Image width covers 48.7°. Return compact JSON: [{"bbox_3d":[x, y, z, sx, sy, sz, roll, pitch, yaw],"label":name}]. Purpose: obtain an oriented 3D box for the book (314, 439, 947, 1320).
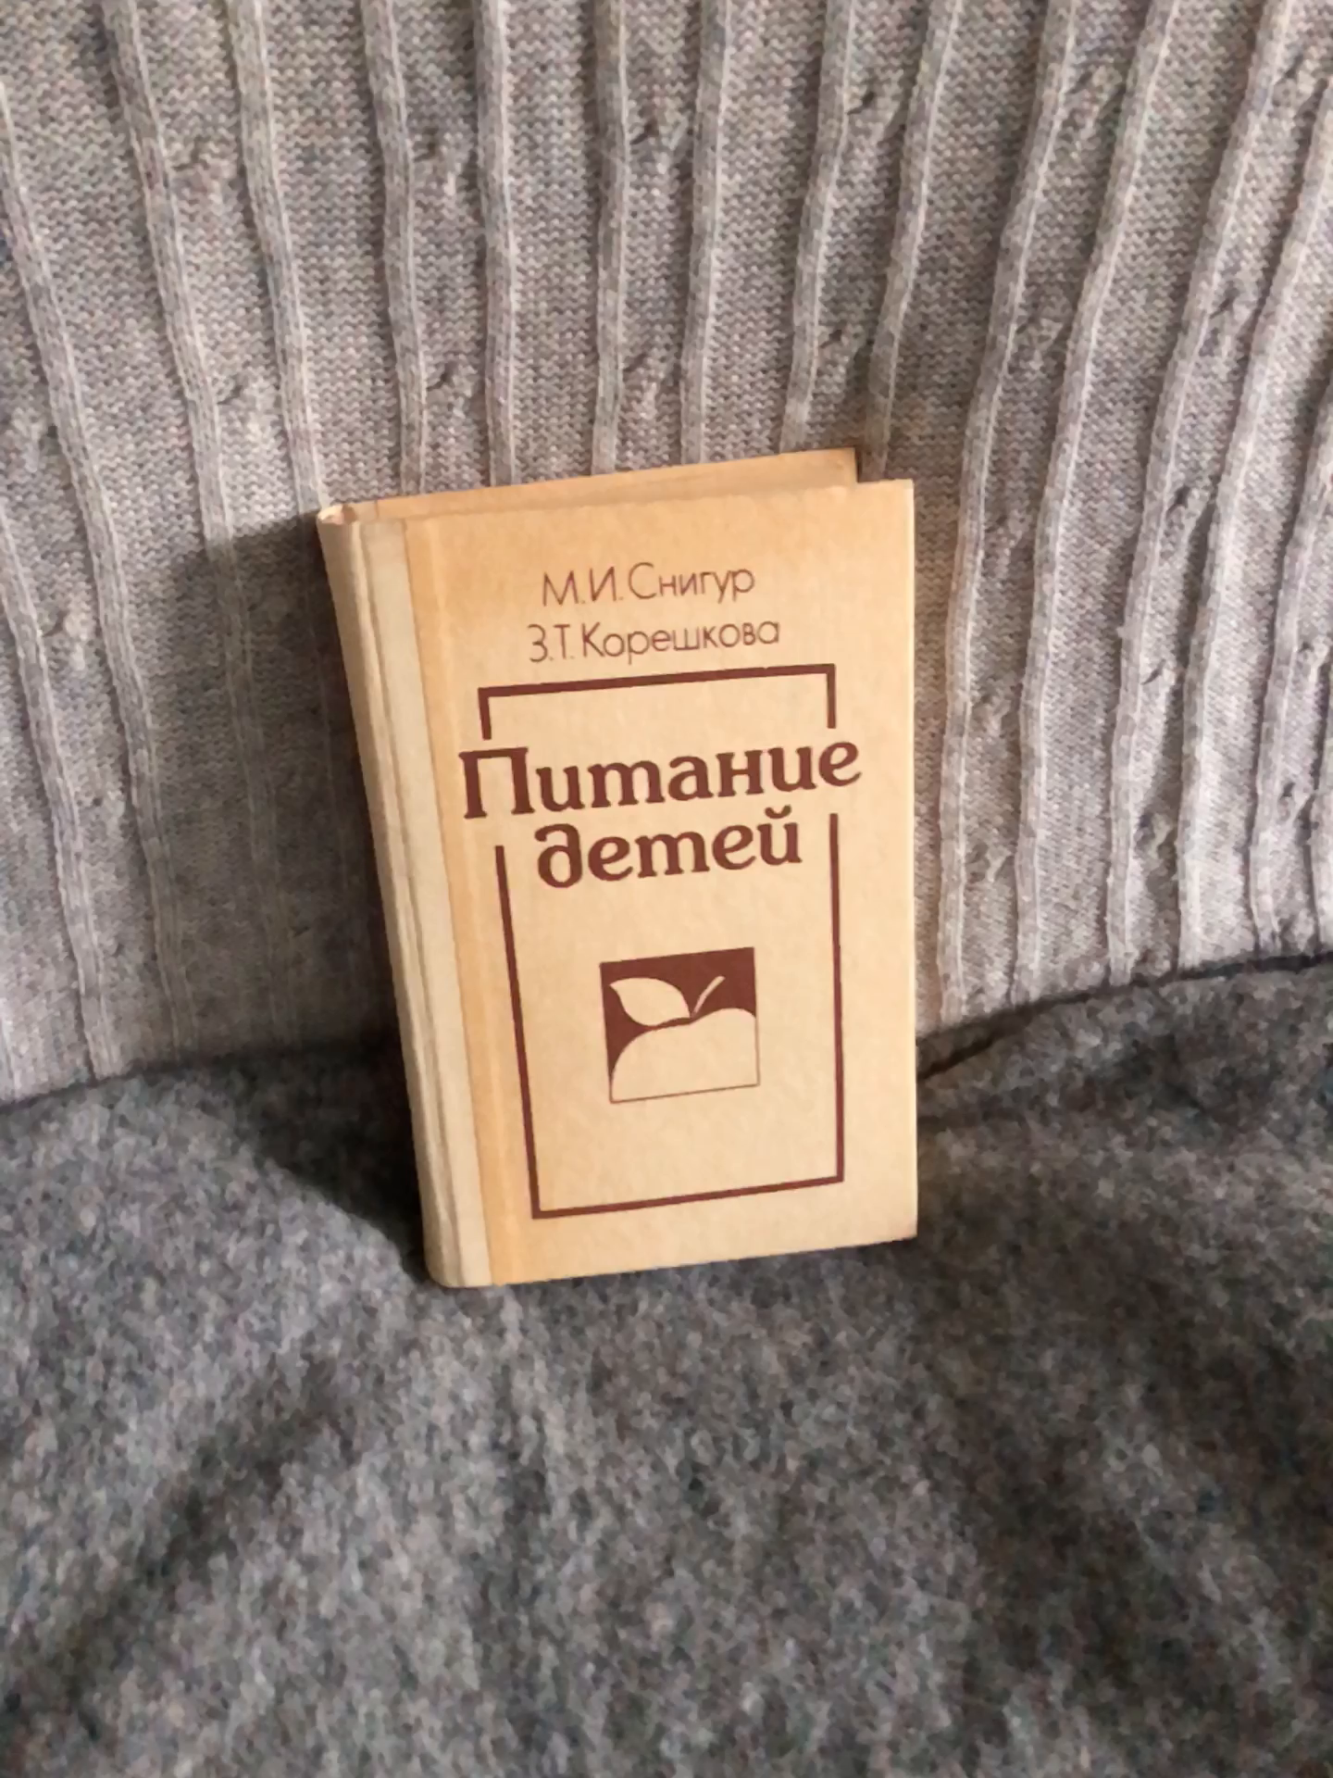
[{"bbox_3d":[-0.002,0.001,0.384,0.139,0.212,0.042,-8,21,-7],"label":"book"}]
